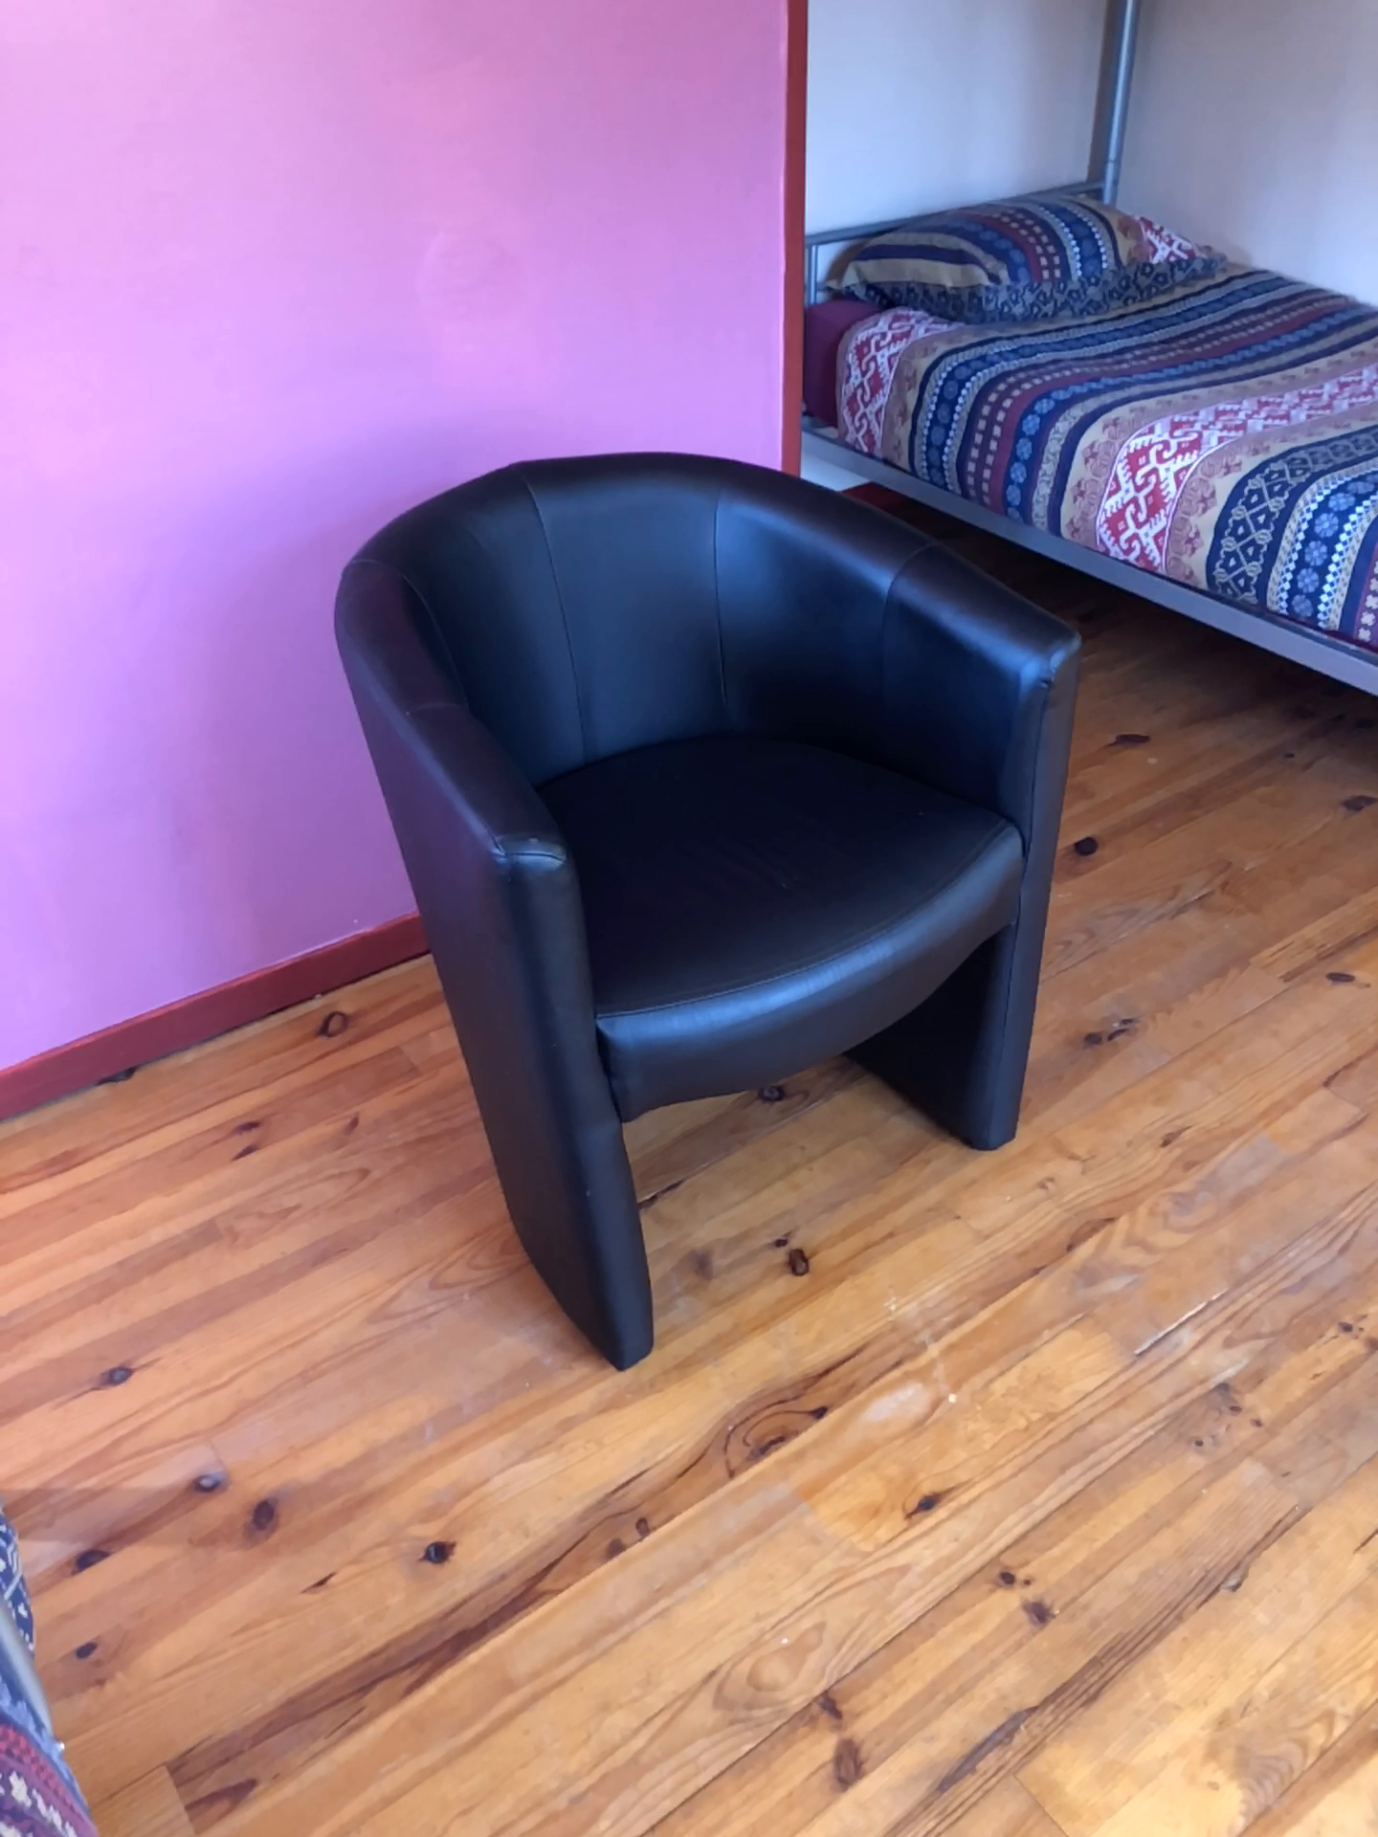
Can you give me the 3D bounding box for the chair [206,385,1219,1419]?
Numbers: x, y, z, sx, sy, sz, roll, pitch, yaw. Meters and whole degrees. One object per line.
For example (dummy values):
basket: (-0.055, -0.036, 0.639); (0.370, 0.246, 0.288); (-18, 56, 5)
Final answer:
chair: (0.015, -0.074, 1.509); (0.673, 0.646, 0.591); (-24, 41, -28)
